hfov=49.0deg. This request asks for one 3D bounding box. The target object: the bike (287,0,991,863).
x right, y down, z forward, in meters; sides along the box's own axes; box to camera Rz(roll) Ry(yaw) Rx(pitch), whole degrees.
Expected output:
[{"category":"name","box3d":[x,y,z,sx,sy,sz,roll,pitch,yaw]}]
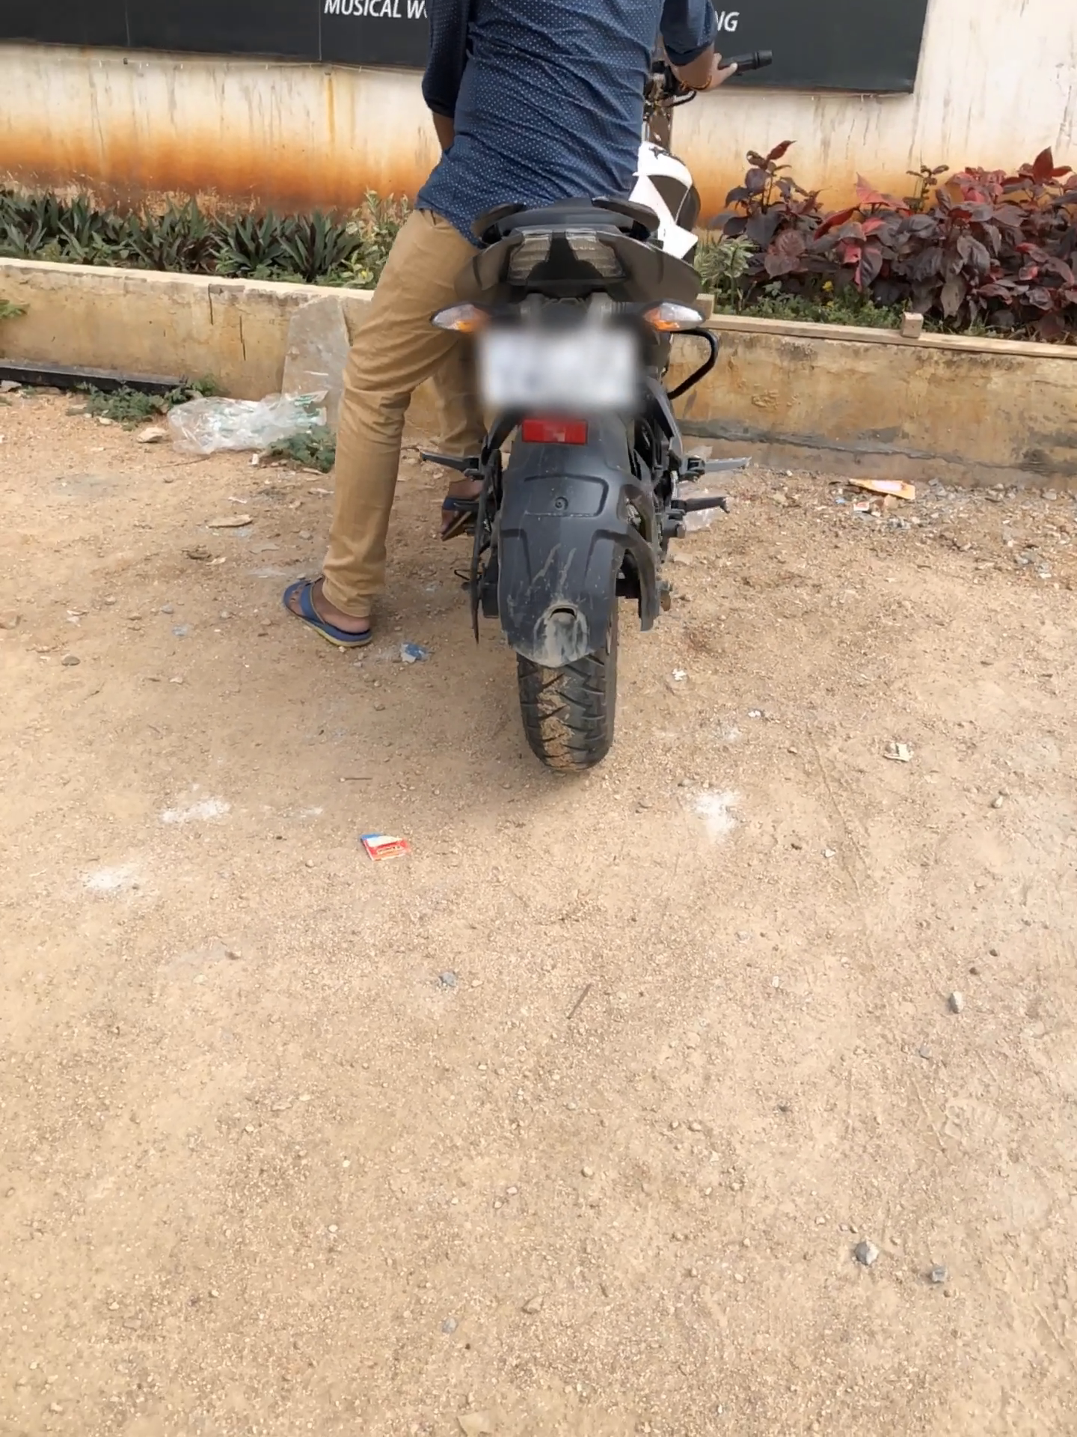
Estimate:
[{"category":"bike","box3d":[0.052,-0.783,2.349,0.779,1.122,1.860,2,30,-3]}]
